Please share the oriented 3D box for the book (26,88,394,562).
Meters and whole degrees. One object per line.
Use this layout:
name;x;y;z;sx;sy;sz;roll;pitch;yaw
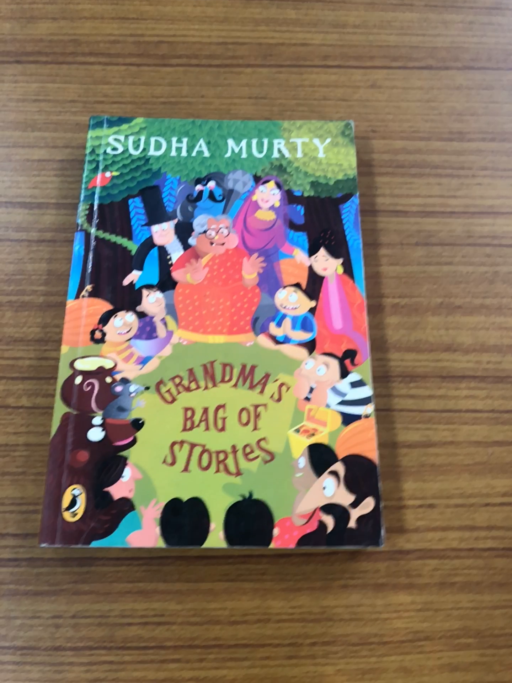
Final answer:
book;-0.017;-0.016;0.253;0.130;0.030;0.210;0;70;-2
